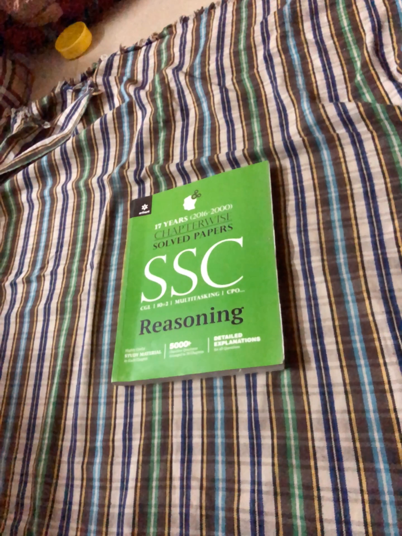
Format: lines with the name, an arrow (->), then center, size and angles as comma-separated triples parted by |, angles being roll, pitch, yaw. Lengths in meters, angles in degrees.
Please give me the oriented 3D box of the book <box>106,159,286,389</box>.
book -> -0.008, 0.006, 0.572 | 0.210, 0.040, 0.270 | -12, 60, 23
